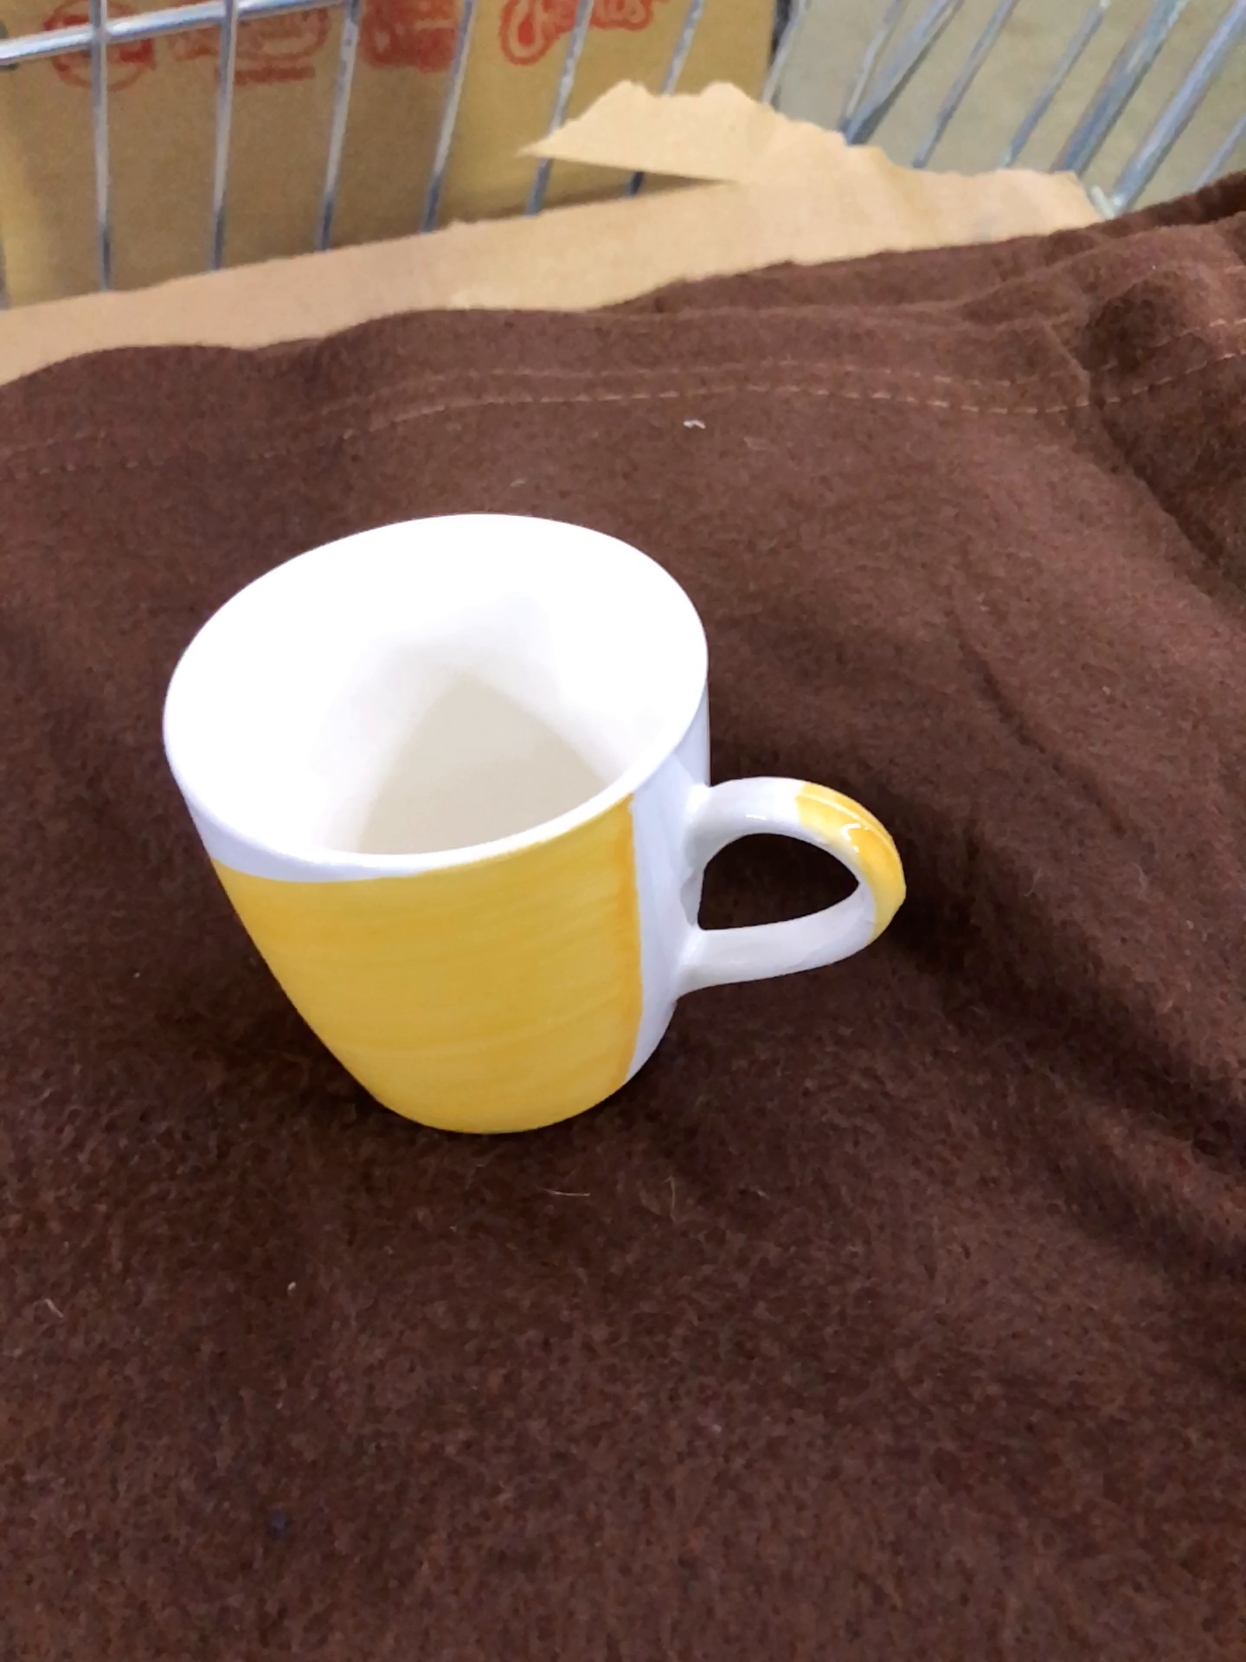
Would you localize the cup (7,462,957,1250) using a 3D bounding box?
[{"bbox_3d":[-0.011,0.001,0.176,0.090,0.060,0.060,10,48,14],"label":"cup"}]
